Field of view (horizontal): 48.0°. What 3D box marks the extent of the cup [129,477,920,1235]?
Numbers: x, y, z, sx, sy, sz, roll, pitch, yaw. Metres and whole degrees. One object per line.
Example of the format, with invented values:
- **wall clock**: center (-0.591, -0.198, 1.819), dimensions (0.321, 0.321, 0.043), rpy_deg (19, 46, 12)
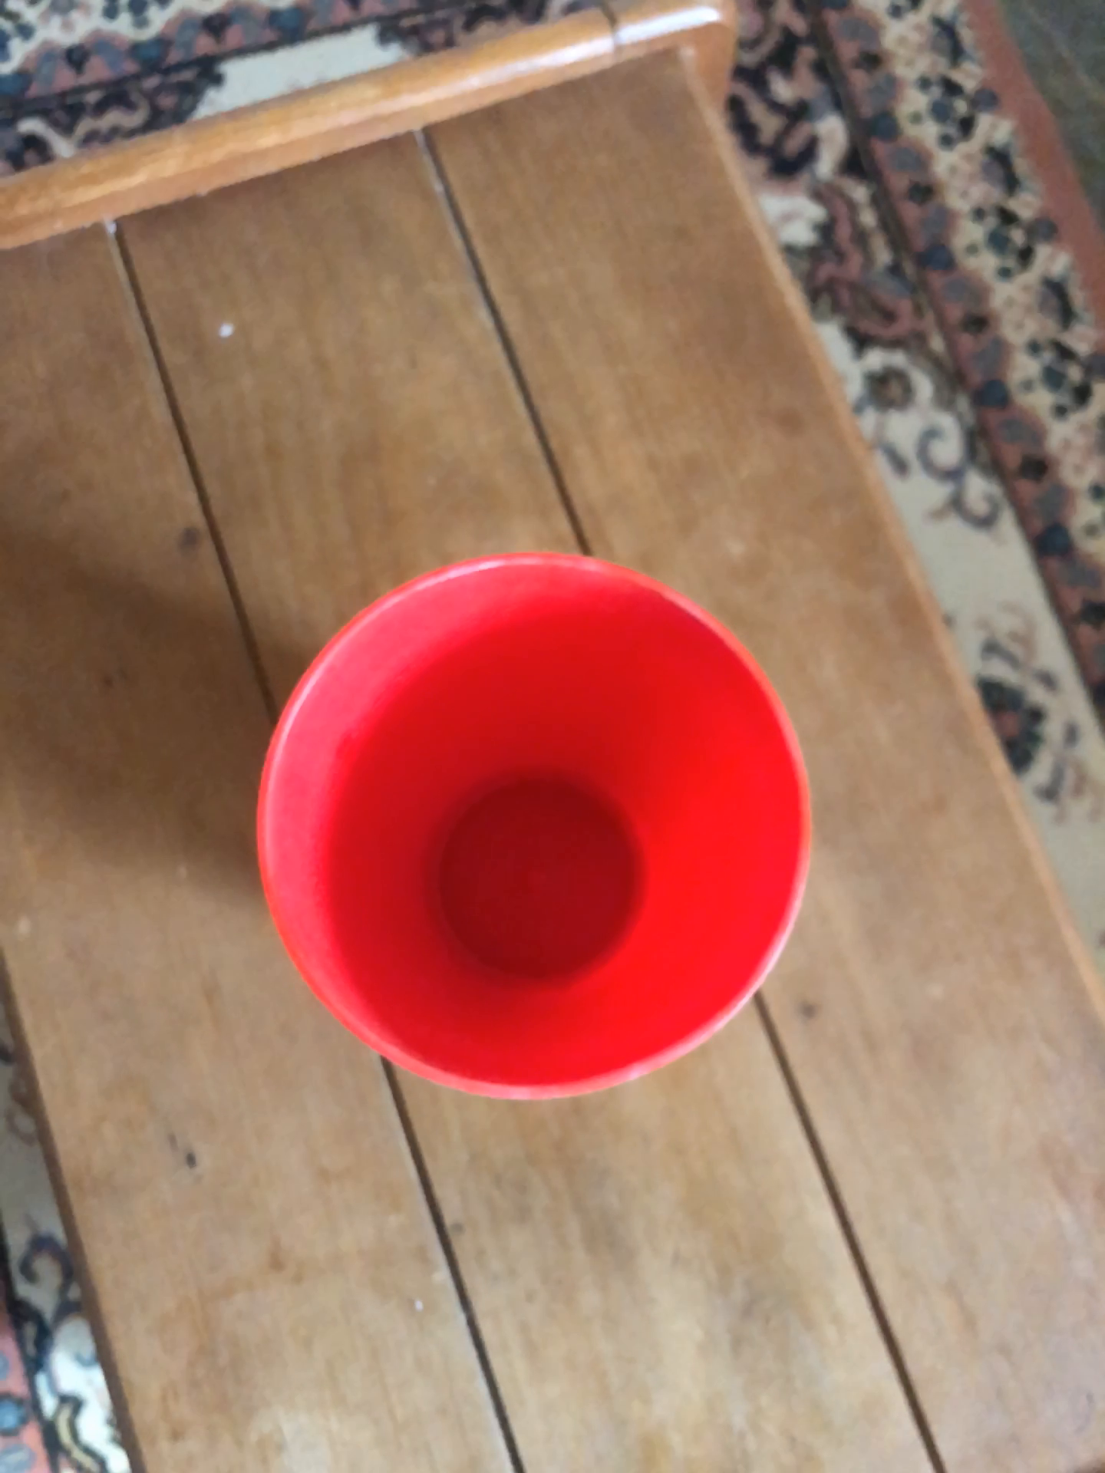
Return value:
- **cup**: center (-0.007, 0.027, 0.257), dimensions (0.100, 0.120, 0.090), rpy_deg (-22, 80, -5)
